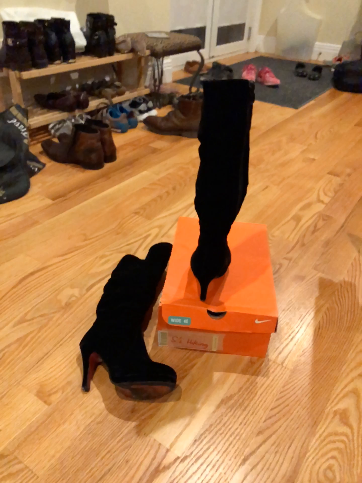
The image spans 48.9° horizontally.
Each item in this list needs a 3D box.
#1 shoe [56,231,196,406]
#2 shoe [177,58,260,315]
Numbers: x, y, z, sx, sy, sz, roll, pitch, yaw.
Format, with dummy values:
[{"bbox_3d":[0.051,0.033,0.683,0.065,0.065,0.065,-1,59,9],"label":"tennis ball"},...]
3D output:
[{"bbox_3d":[-0.085,0.129,0.836,0.206,0.089,0.401,4,34,4],"label":"shoe"},{"bbox_3d":[0.065,-0.095,0.721,0.089,0.397,0.217,8,34,7],"label":"shoe"}]
